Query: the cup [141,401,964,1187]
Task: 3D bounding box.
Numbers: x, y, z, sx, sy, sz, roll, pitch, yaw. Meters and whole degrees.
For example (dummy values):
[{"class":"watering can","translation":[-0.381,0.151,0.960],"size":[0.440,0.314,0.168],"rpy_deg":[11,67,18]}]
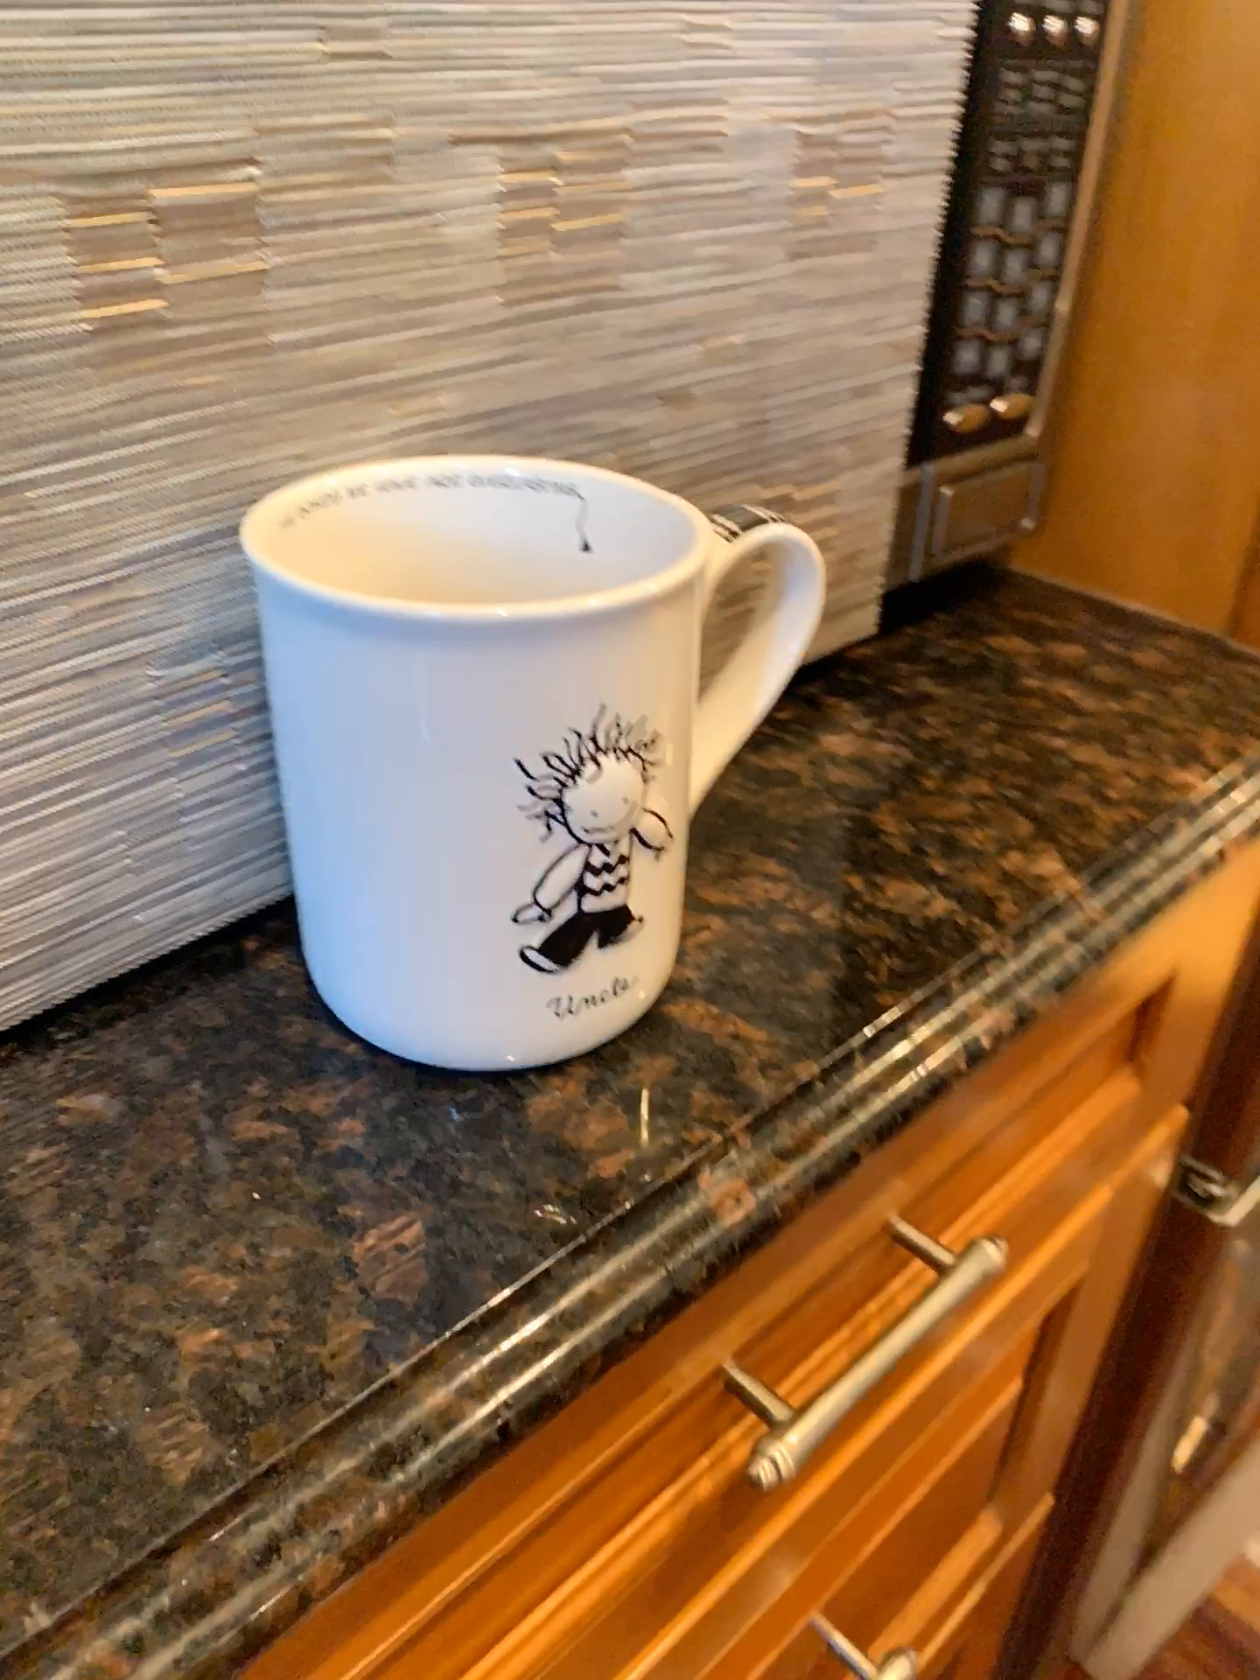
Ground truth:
[{"class":"cup","translation":[-0.016,-0.022,0.289],"size":[0.130,0.109,0.100],"rpy_deg":[-21,39,-33]}]
